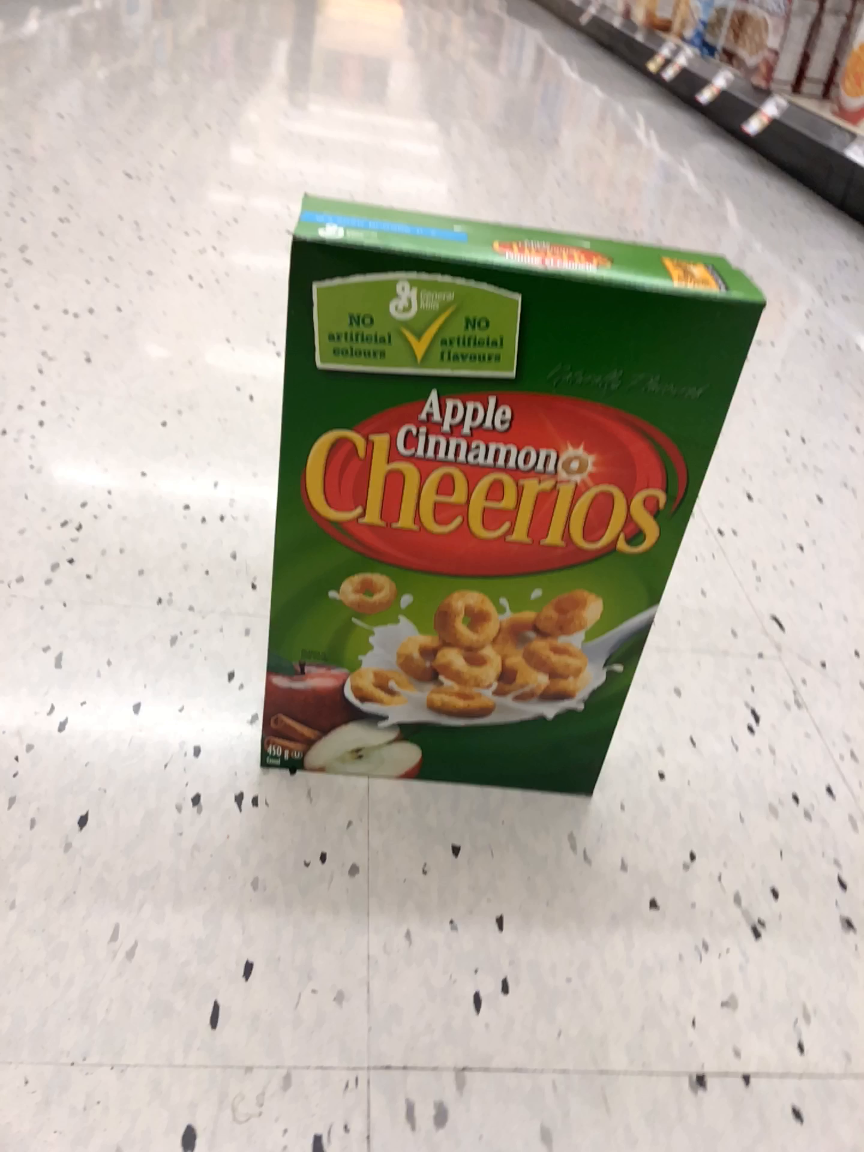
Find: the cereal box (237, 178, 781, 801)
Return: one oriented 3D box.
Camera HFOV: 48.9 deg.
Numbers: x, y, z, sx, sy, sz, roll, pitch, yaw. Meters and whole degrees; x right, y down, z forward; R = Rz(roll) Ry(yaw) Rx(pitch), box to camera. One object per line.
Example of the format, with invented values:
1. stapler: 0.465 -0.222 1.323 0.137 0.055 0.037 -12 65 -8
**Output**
1. cereal box: 0.014 -0.019 0.445 0.190 0.278 0.060 6 35 -6
